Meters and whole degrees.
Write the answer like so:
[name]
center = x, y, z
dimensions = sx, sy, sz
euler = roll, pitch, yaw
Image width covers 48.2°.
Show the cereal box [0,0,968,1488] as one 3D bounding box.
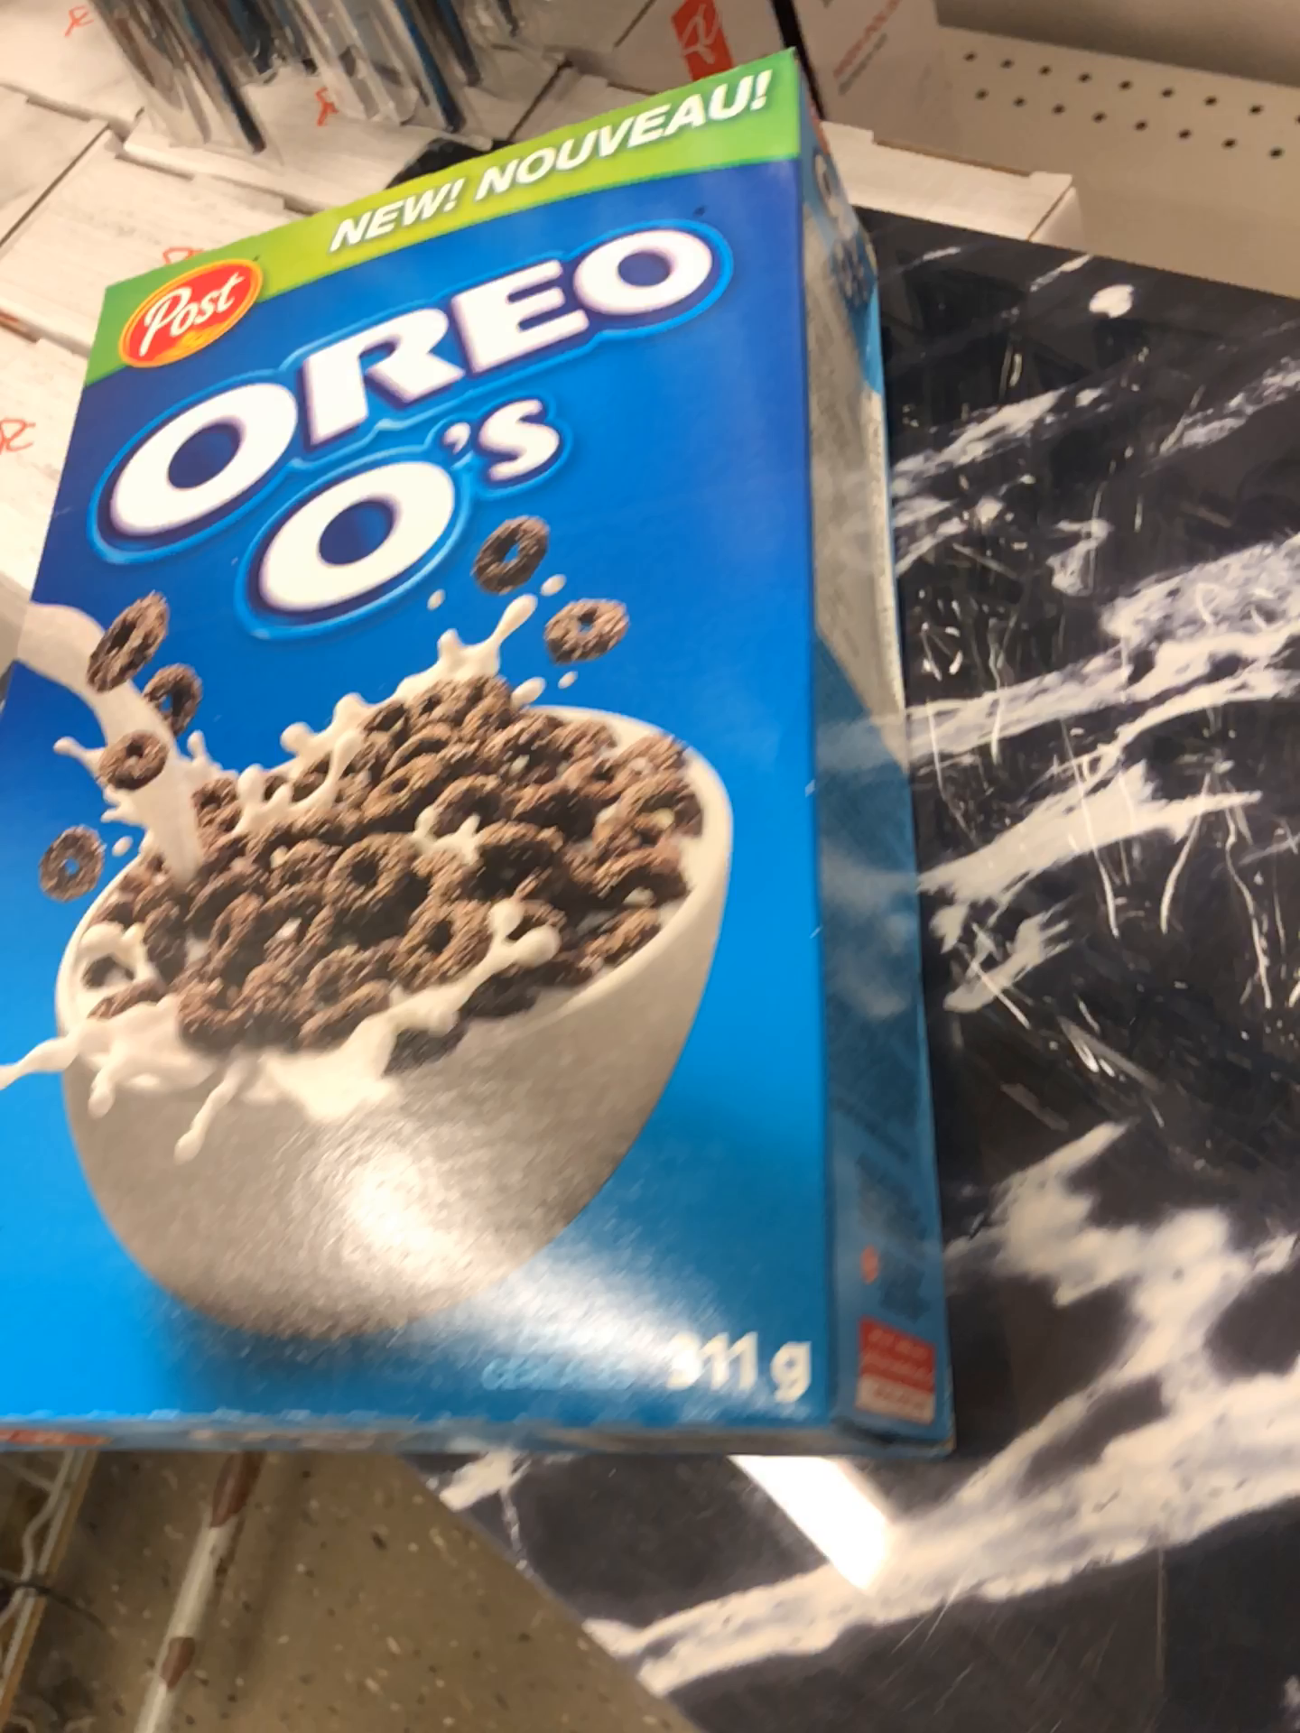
[cereal box]
center = -0.050, -0.031, 0.320
dimensions = 0.211, 0.070, 0.300
euler = -8, 62, 20
